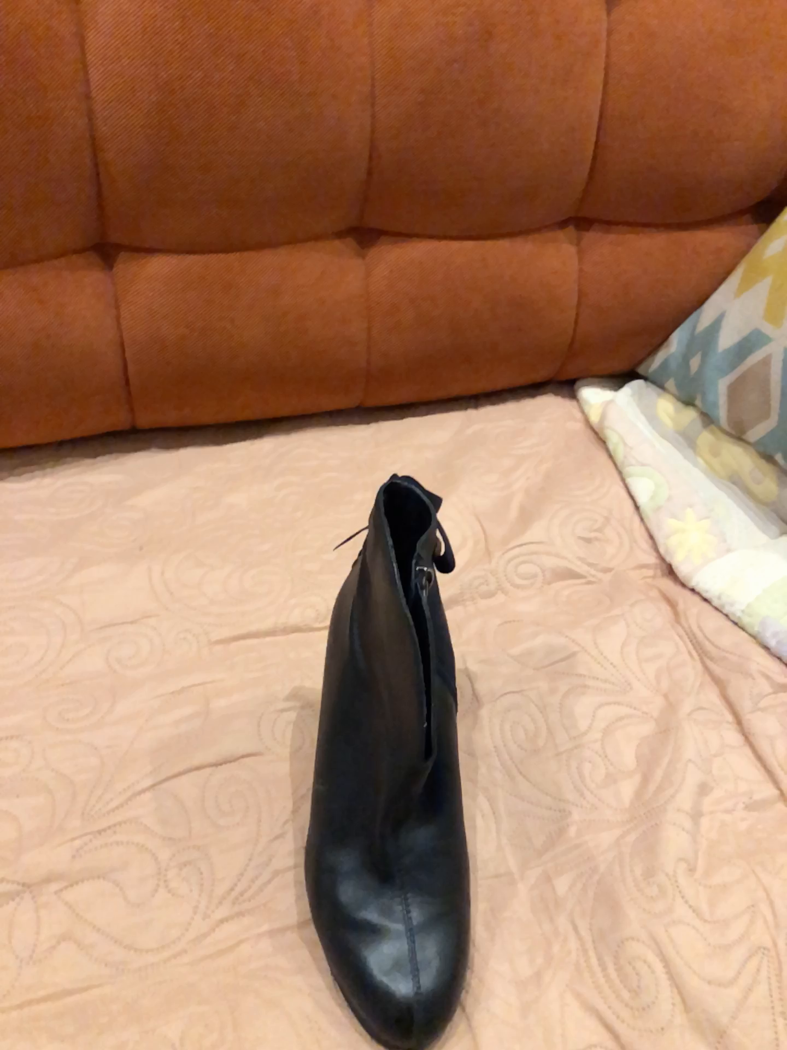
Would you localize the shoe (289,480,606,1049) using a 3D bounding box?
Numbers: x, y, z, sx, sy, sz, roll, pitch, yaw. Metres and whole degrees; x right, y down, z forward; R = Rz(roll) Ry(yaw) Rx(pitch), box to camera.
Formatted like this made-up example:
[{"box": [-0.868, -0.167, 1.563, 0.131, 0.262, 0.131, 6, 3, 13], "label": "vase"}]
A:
[{"box": [0.002, 0.115, 0.419, 0.095, 0.169, 0.222, -1, 43, -9], "label": "shoe"}]
